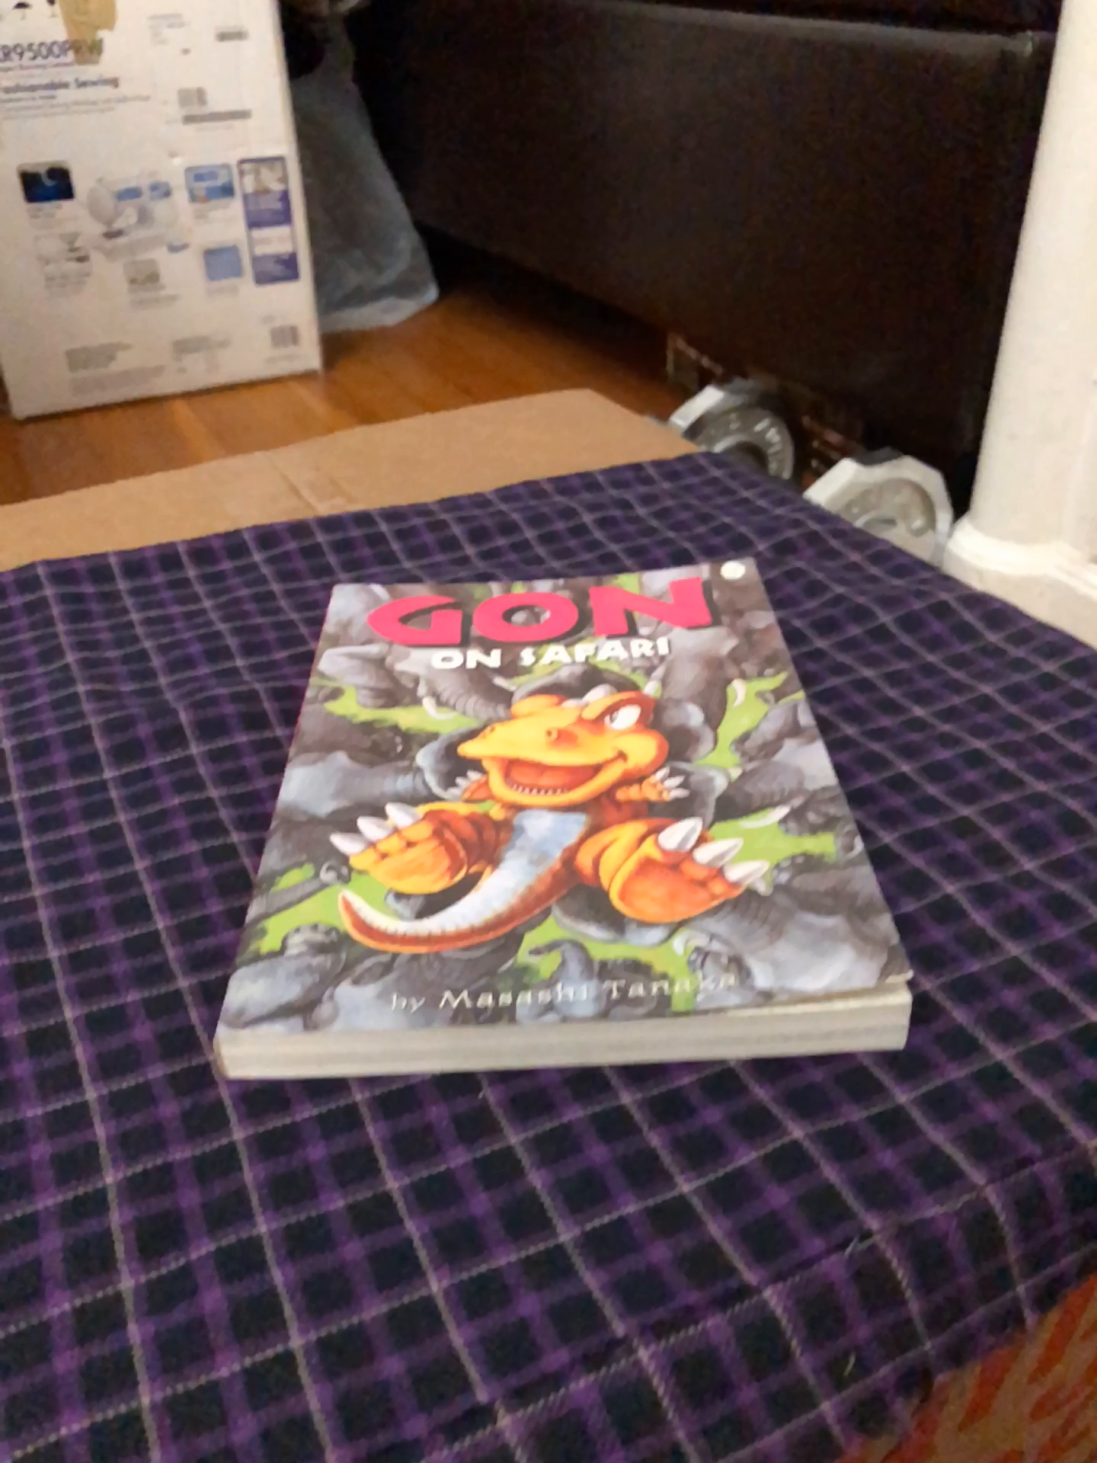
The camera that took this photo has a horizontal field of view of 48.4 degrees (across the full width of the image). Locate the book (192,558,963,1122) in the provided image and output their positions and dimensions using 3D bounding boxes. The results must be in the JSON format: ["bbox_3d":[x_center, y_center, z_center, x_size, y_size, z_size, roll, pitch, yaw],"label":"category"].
[{"bbox_3d":[0.004,0.010,0.330,0.150,0.020,0.211,-2,34,0],"label":"book"}]
